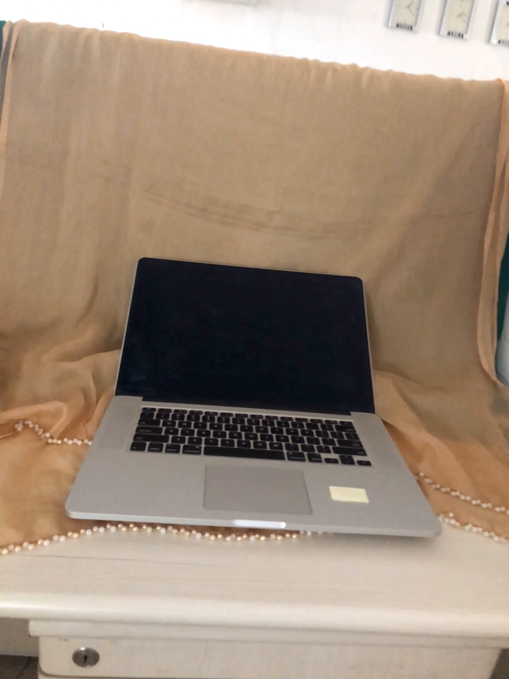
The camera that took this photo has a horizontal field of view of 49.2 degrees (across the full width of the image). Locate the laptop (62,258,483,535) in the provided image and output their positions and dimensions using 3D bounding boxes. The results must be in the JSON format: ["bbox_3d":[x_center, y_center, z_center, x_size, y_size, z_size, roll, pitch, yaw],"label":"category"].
[{"bbox_3d":[0.002,0.029,0.652,0.336,0.135,0.407,5,20,-5],"label":"laptop"}]
